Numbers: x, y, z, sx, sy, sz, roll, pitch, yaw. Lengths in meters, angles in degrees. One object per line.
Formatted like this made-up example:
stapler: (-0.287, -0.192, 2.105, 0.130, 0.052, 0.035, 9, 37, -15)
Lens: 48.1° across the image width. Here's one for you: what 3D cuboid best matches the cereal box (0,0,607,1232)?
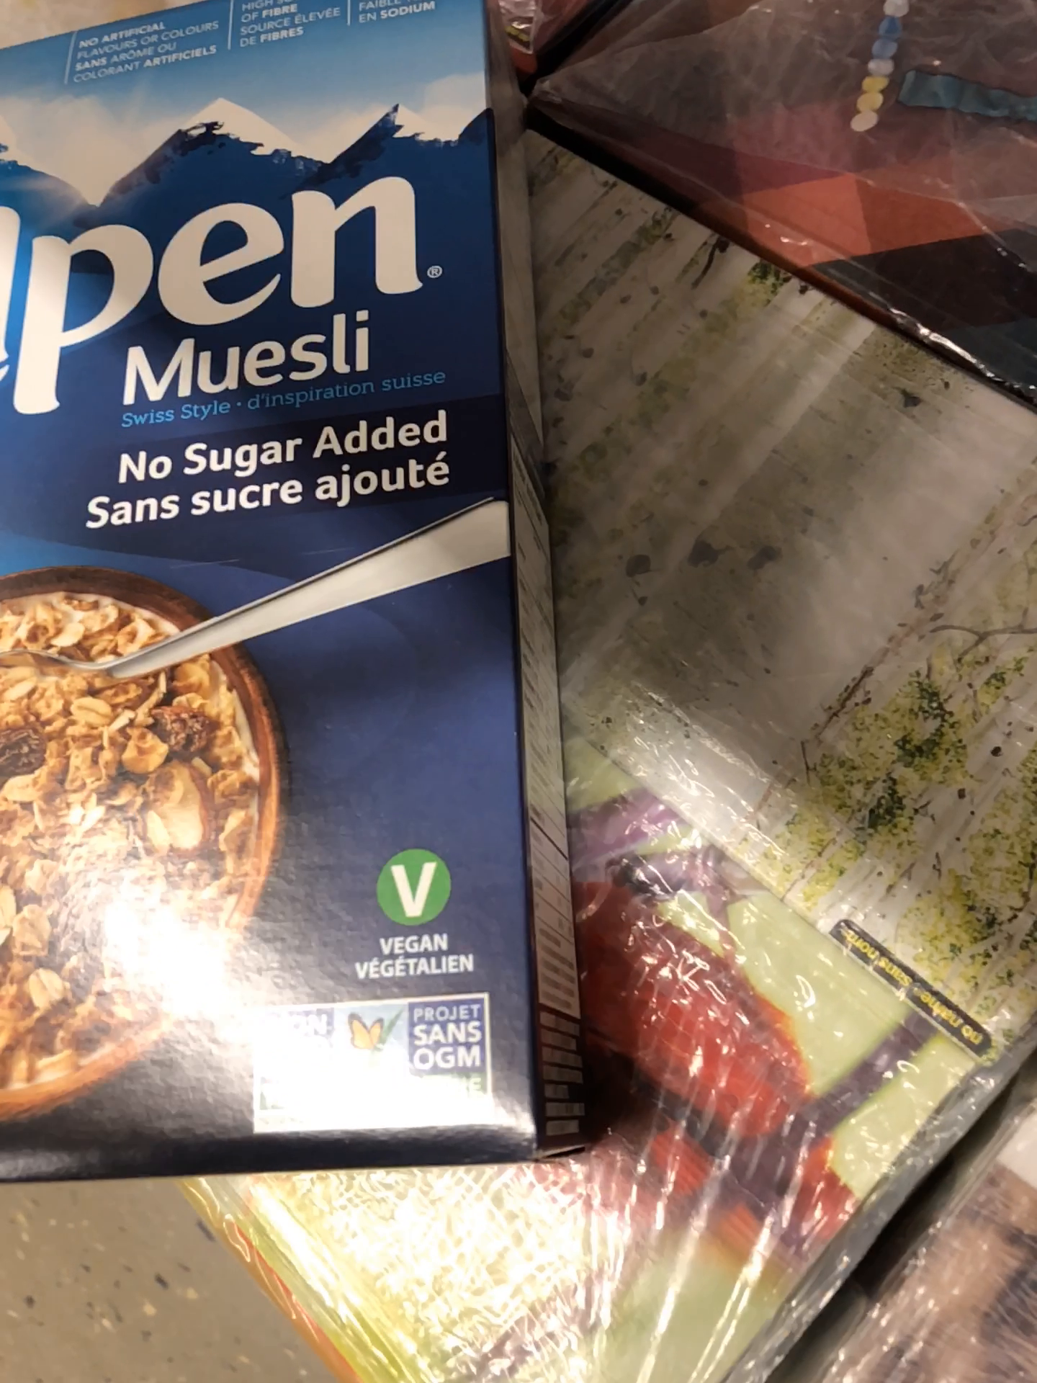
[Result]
cereal box: (-0.089, -0.043, 0.240, 0.190, 0.050, 0.270, -7, 69, 10)
